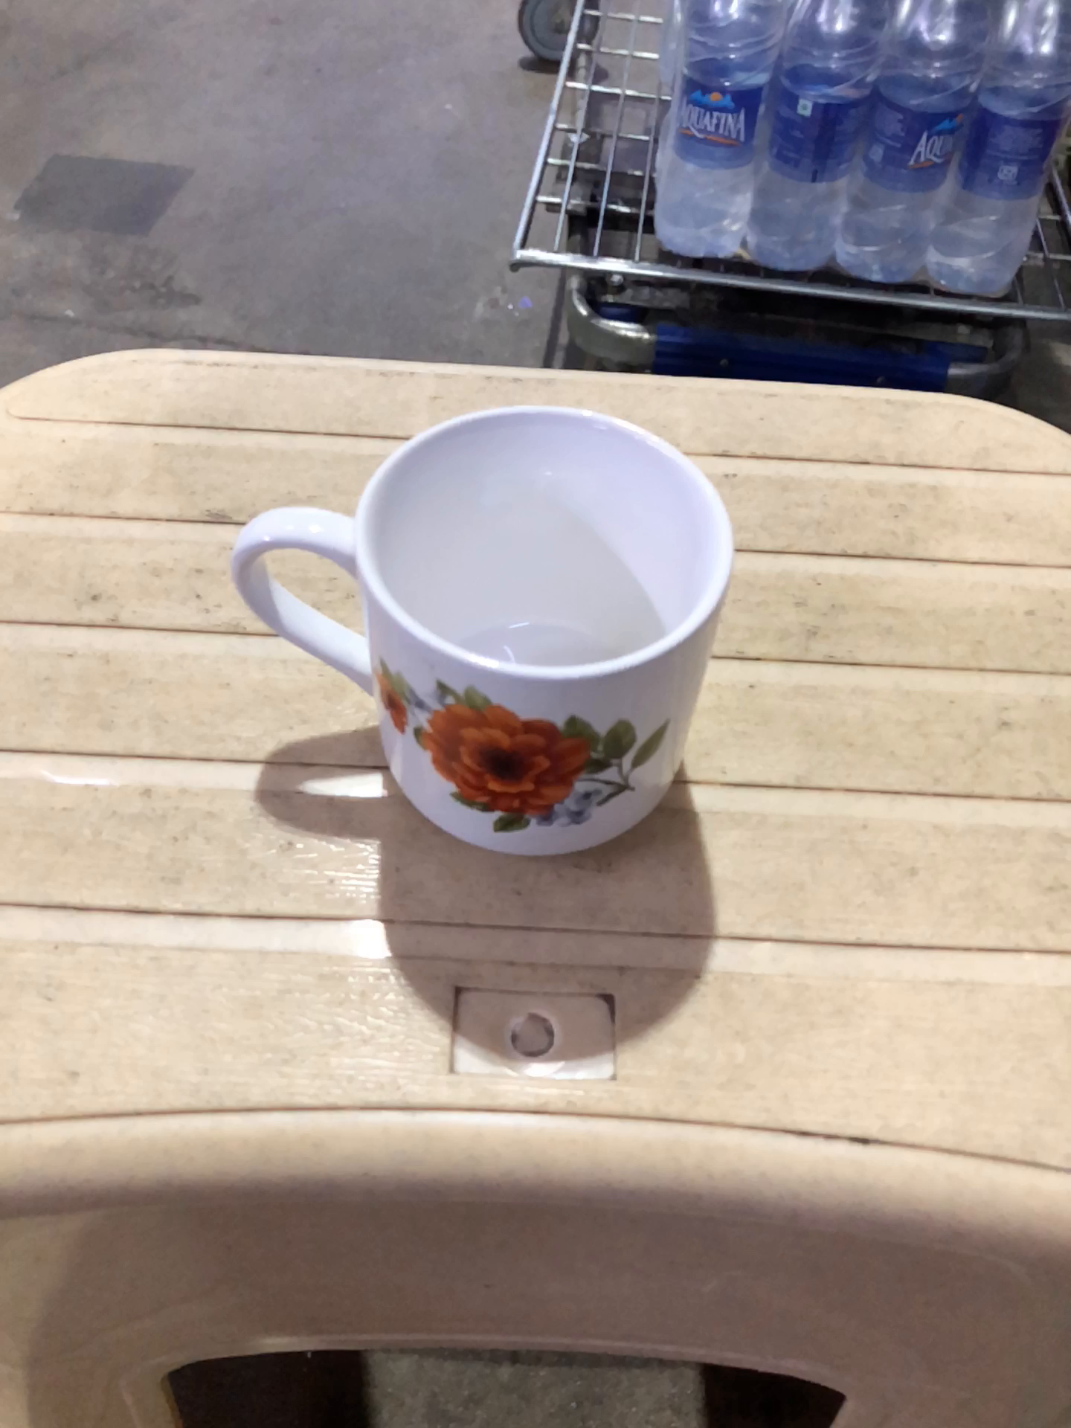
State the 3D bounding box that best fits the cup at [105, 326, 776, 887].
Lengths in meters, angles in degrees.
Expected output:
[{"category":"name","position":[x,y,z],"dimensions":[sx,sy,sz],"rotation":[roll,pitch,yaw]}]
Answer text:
[{"category":"cup","position":[-0.012,-0.020,0.219],"dimensions":[0.100,0.060,0.070],"rotation":[7,52,3]}]
